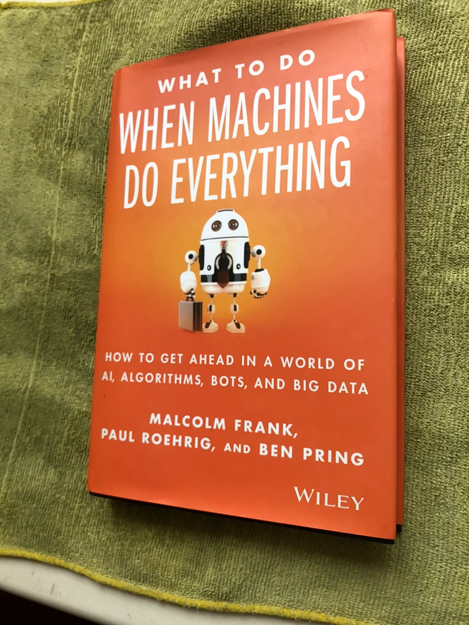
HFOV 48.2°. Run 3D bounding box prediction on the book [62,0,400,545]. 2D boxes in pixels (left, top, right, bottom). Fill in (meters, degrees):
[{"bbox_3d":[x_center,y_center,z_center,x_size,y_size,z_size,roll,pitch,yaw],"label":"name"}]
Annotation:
[{"bbox_3d":[-0.001,-0.026,0.267,0.160,0.040,0.240,0,84,22],"label":"book"}]
